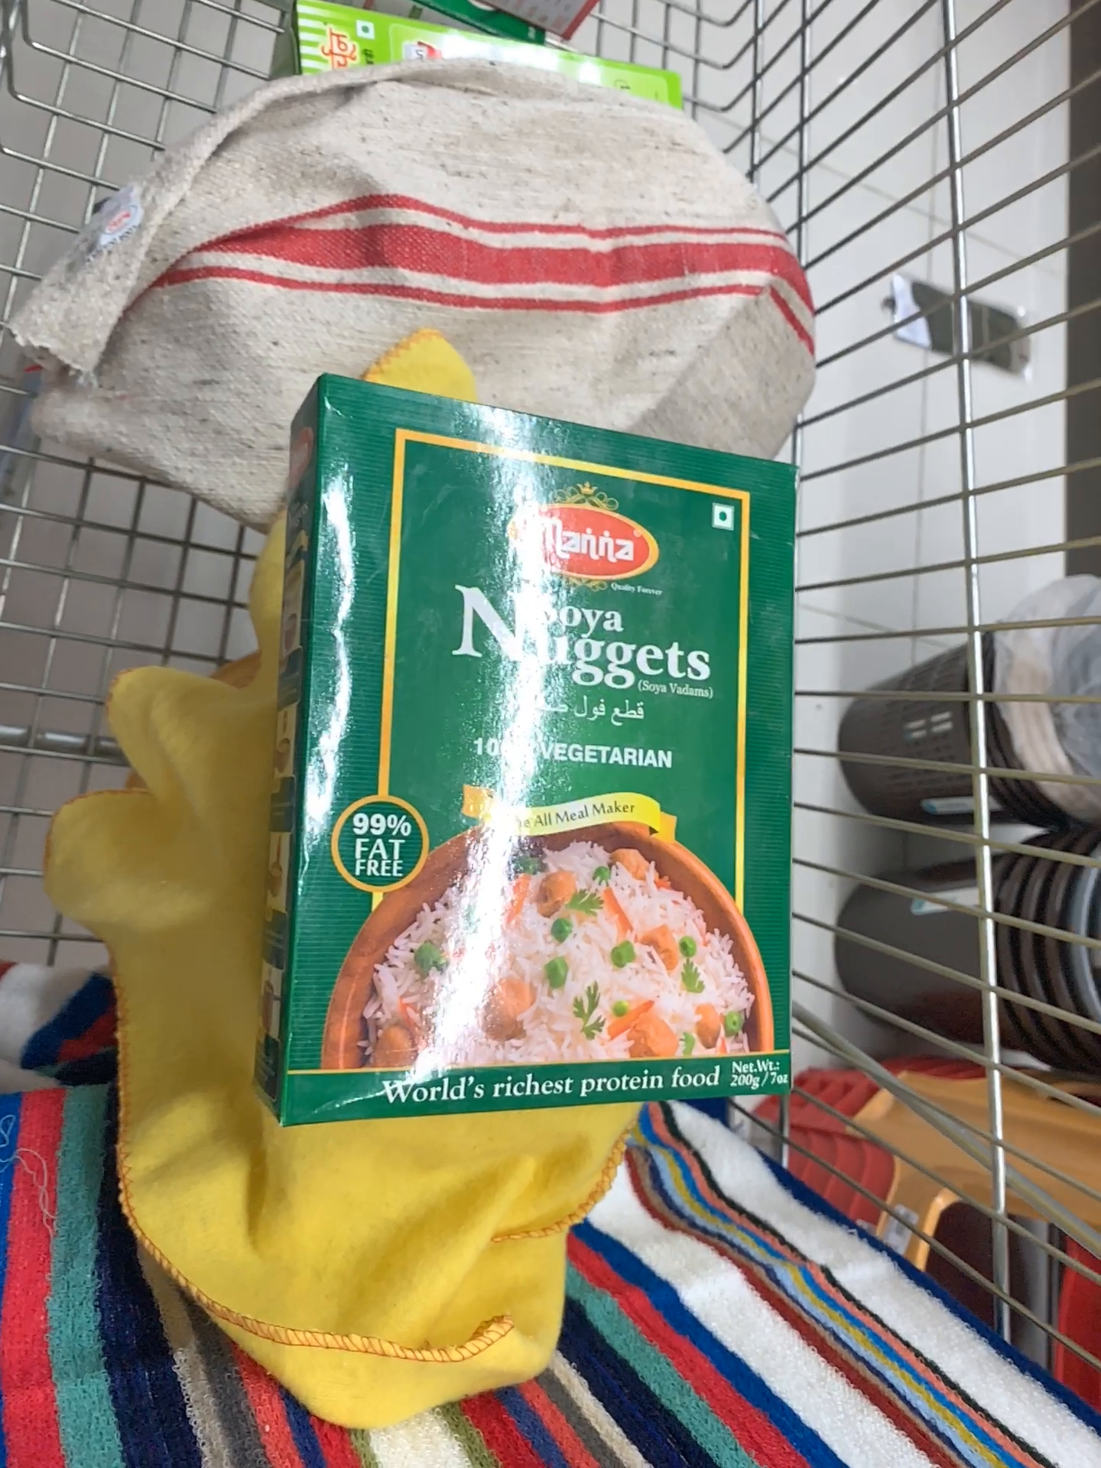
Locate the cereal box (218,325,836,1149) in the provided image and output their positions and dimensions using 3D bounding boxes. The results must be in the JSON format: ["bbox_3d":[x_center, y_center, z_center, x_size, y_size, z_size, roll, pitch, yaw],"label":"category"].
[{"bbox_3d":[-0.003,0.006,0.333,0.160,0.060,0.200,5,84,-23],"label":"cereal box"}]
